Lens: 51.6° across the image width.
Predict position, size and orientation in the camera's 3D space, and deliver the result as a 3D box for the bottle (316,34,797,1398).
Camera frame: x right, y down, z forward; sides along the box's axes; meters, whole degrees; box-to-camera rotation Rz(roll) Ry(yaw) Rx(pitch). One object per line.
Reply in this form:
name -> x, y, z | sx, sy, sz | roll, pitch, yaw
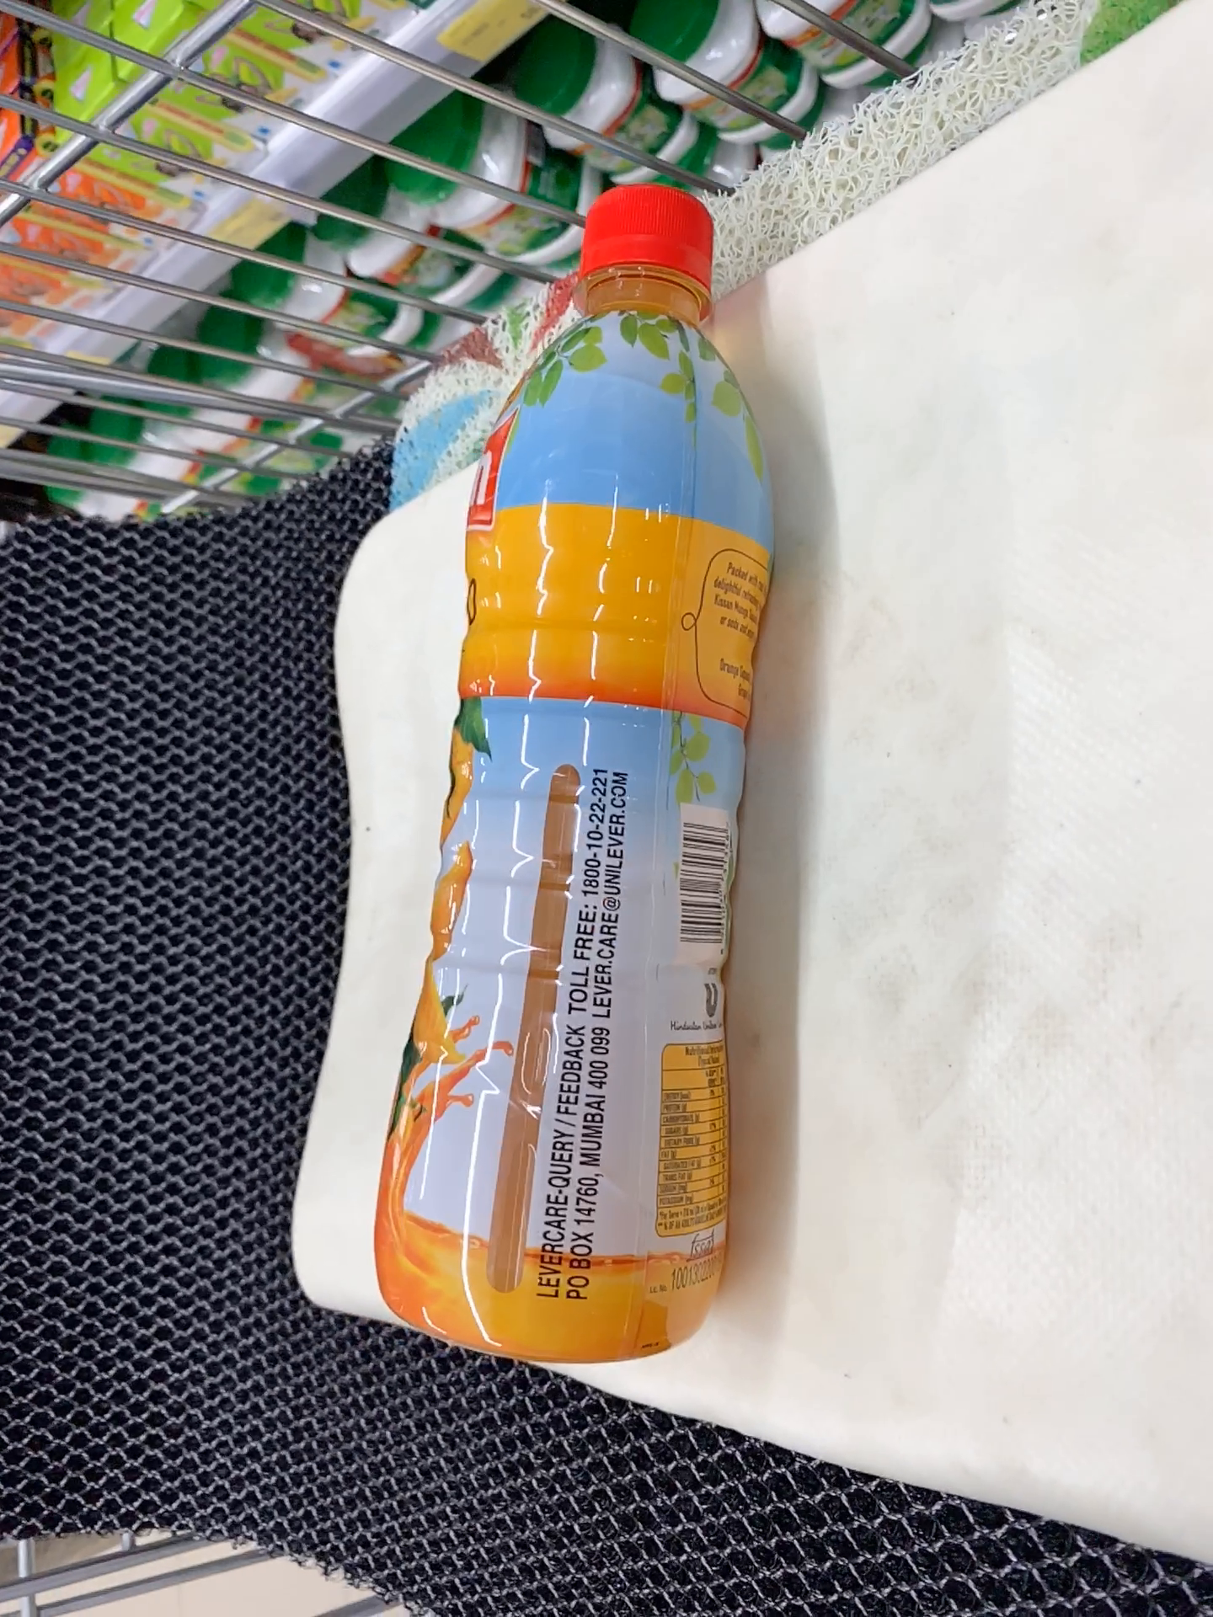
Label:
bottle -> -0.006, -0.016, 0.256 | 0.080, 0.070, 0.230 | 0, 89, 16
